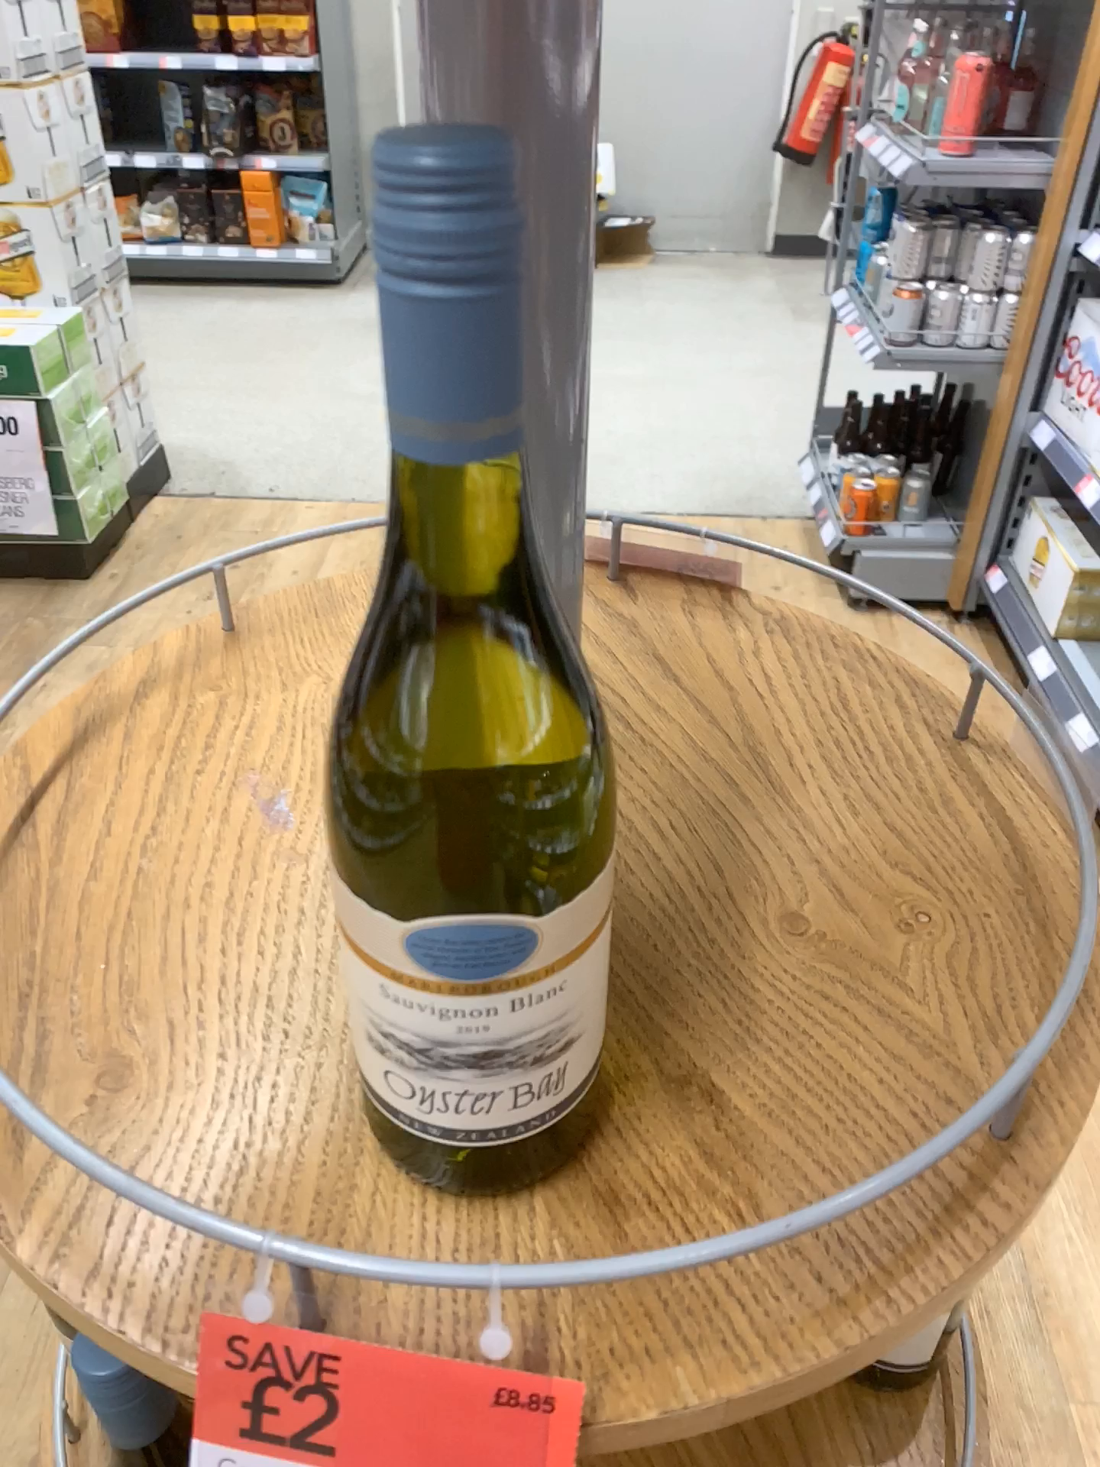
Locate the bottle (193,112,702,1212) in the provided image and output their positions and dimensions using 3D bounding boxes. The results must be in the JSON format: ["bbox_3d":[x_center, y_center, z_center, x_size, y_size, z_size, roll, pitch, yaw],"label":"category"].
[{"bbox_3d":[-0.019,0.005,0.291,0.080,0.284,0.081,1,35,0],"label":"bottle"}]
